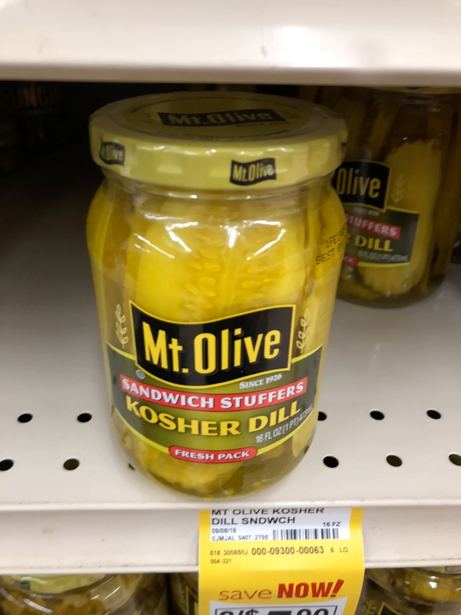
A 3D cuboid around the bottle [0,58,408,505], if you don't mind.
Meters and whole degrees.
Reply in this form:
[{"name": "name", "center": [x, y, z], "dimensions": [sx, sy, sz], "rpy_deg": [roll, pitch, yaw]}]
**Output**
[{"name": "bottle", "center": [-0.007, -0.008, 0.181], "dimensions": [0.090, 0.130, 0.080], "rpy_deg": [2, 33, 1]}]
